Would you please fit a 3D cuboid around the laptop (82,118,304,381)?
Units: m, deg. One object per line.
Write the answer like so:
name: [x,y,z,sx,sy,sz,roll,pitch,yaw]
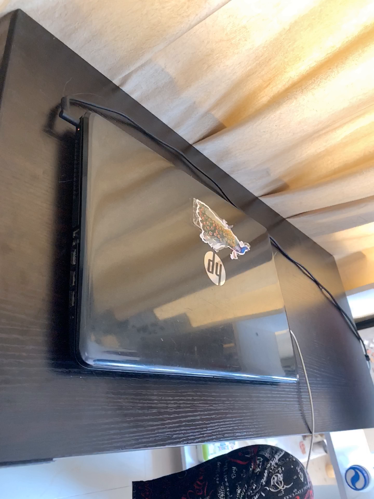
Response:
laptop: [0.032,0.029,0.469,0.375,0.006,0.237,23,52,-46]
